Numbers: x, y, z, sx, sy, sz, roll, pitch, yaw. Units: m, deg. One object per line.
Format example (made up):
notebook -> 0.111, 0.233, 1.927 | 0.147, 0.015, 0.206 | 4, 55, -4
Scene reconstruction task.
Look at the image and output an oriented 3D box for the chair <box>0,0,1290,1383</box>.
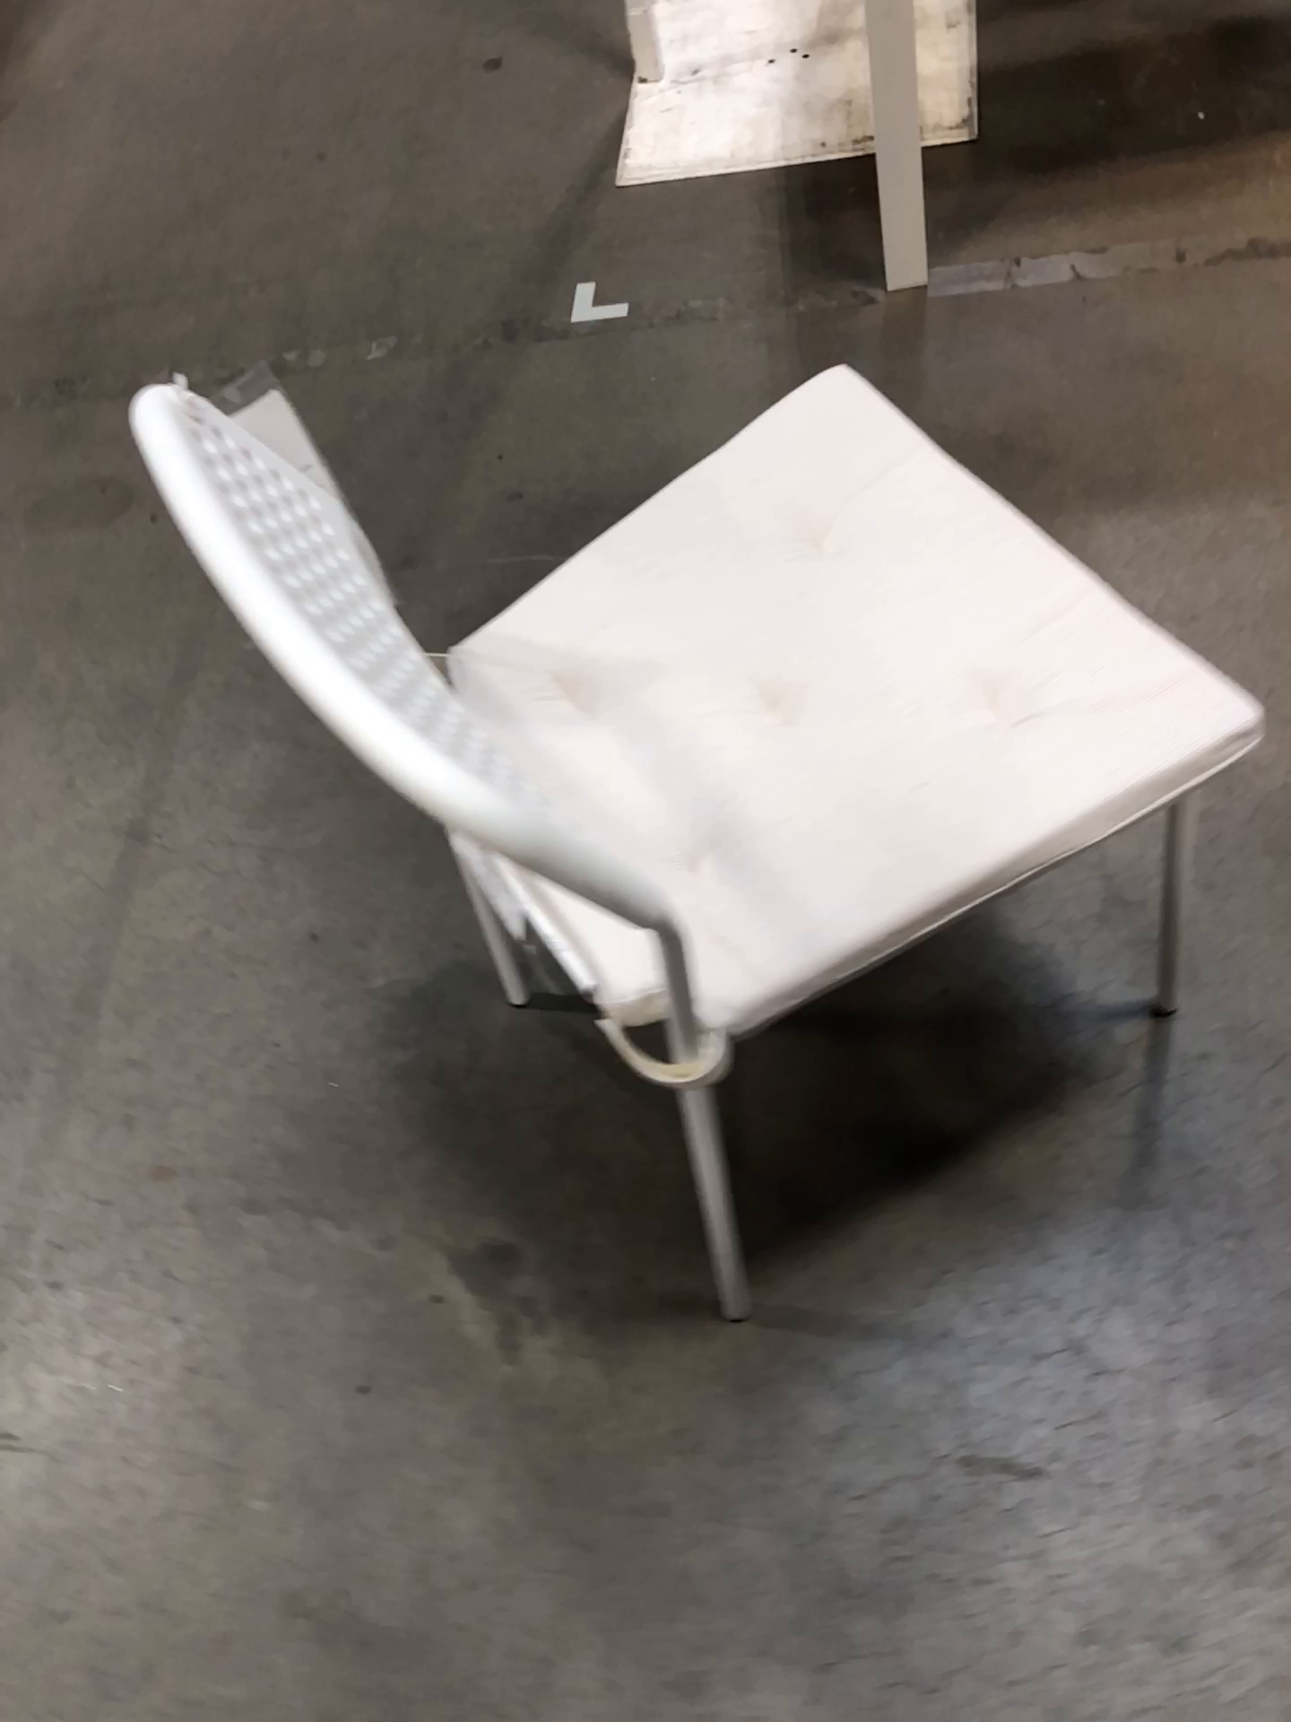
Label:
chair -> 0.087, -0.091, 0.960 | 0.530, 0.739, 0.481 | -36, 58, -9
